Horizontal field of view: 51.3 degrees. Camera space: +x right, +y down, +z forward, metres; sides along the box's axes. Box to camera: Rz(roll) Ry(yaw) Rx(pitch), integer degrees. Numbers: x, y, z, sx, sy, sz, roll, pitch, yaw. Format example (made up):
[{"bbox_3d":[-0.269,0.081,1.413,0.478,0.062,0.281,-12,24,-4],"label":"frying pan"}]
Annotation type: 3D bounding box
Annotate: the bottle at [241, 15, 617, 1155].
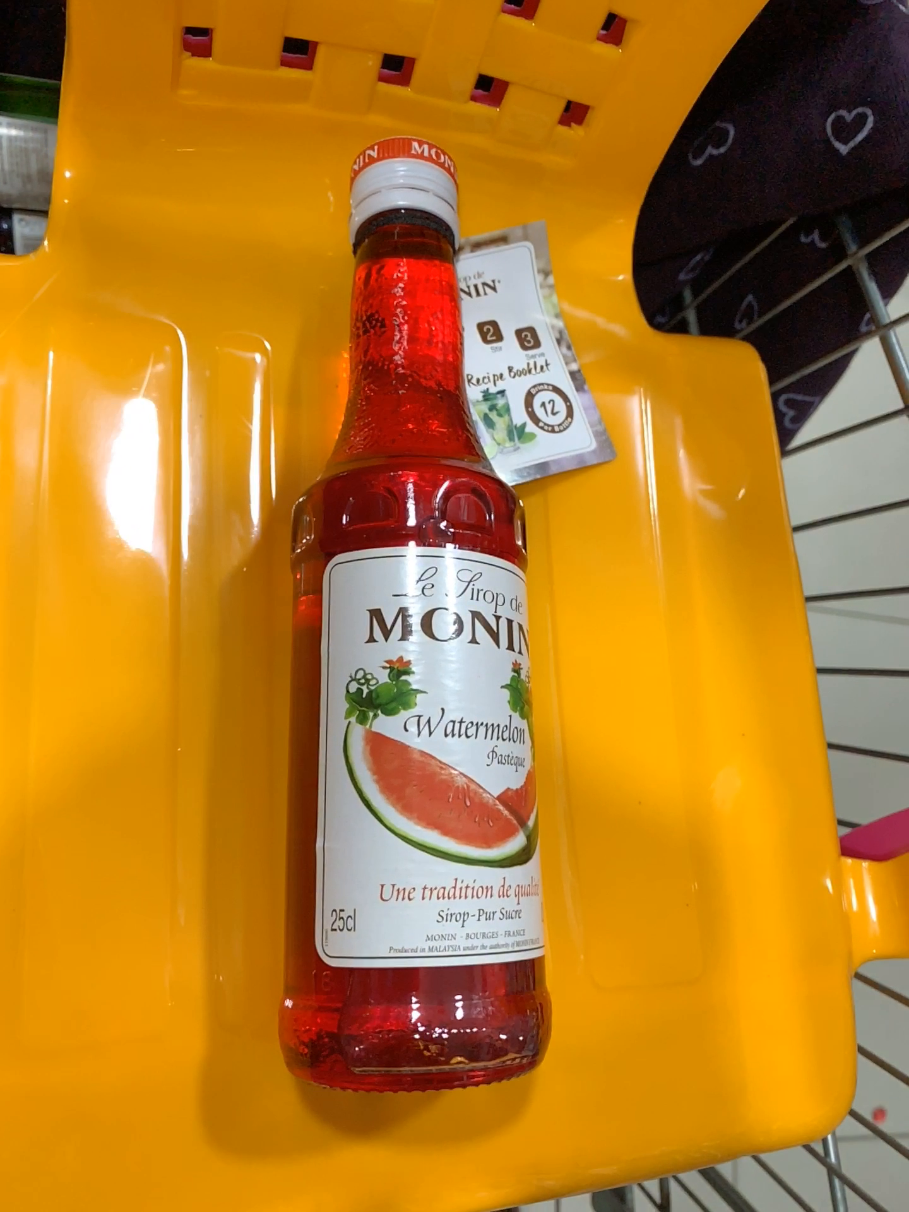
[{"bbox_3d":[-0.007,-0.012,0.219,0.060,0.050,0.230,7,74,-27],"label":"bottle"}]
